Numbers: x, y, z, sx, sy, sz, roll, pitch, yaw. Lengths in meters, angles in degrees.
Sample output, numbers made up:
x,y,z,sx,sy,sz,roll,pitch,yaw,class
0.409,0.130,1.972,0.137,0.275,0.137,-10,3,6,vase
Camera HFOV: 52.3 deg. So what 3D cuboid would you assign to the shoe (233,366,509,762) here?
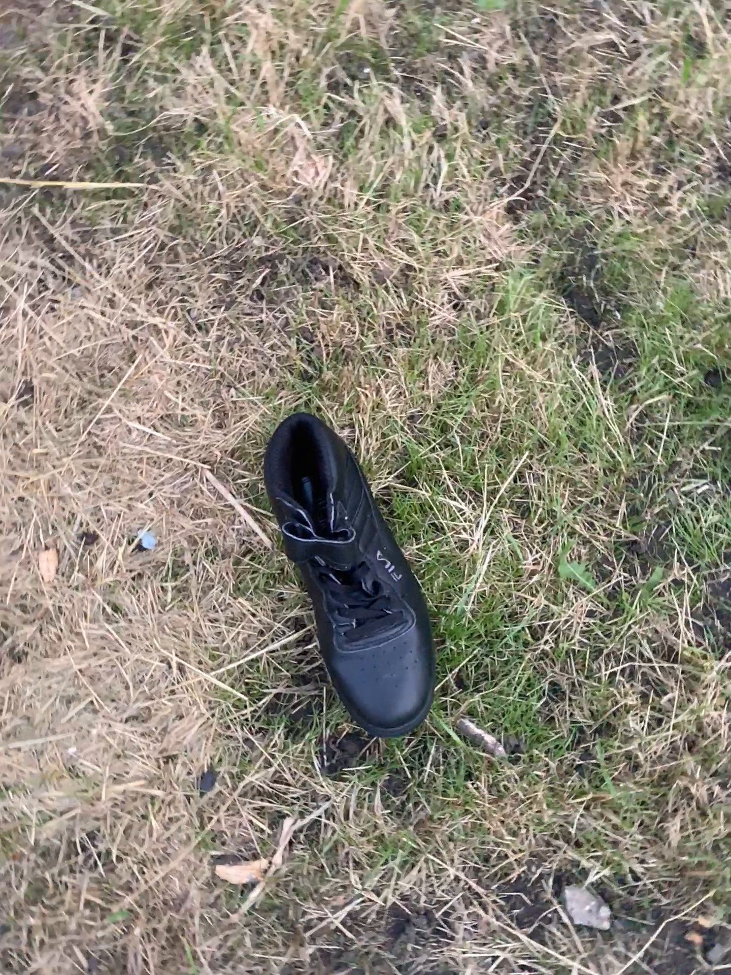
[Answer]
x,y,z,sx,sy,sz,roll,pitch,yaw,class
-0.005,0.061,0.597,0.110,0.120,0.271,-19,75,-10,shoe
